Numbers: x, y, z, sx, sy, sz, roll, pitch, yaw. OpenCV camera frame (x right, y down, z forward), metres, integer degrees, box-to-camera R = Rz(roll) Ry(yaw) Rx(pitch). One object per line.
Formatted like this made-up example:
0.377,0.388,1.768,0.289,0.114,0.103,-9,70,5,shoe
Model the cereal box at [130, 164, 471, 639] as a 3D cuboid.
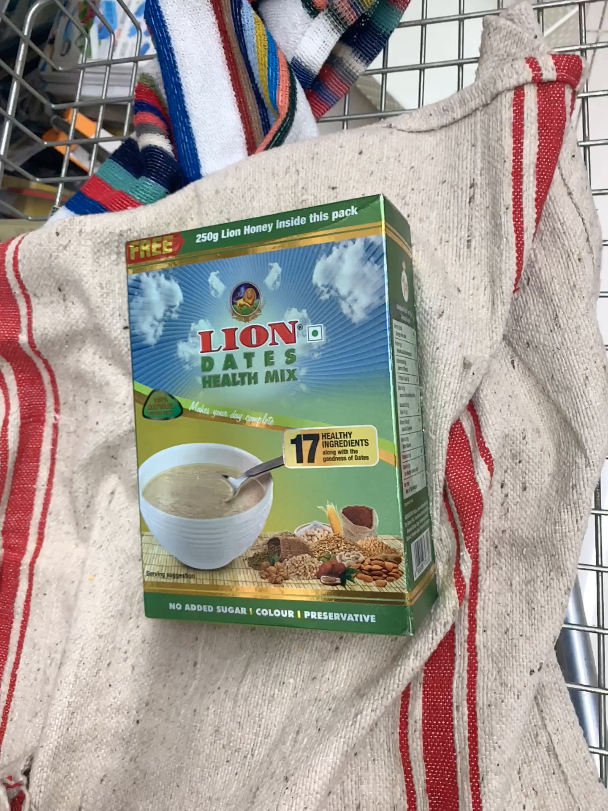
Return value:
0.002,0.002,0.319,0.140,0.090,0.190,-4,88,22,cereal box
